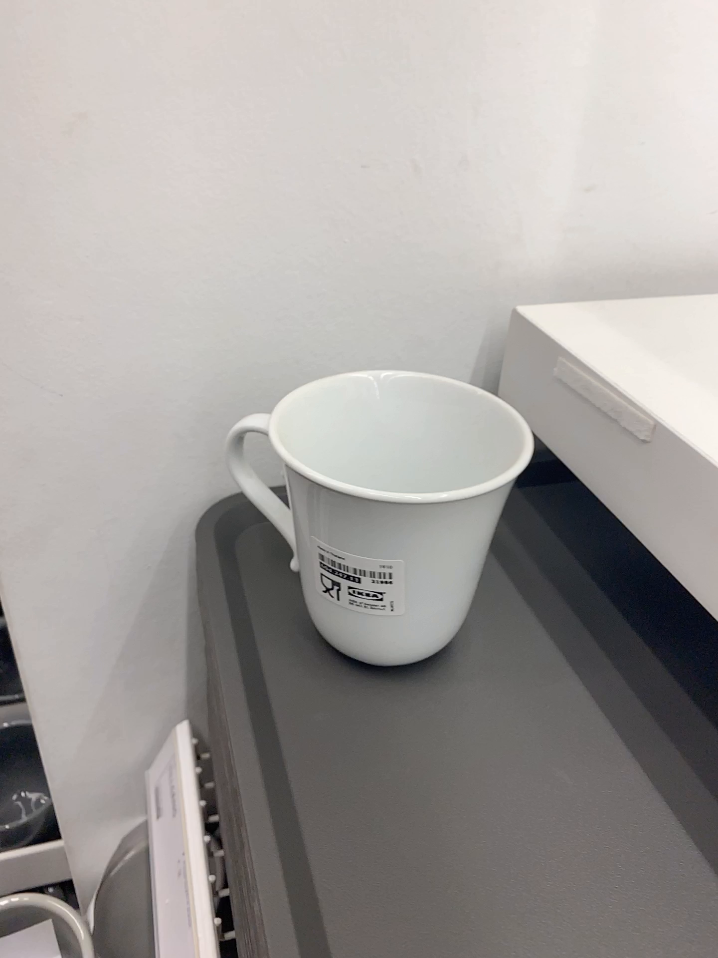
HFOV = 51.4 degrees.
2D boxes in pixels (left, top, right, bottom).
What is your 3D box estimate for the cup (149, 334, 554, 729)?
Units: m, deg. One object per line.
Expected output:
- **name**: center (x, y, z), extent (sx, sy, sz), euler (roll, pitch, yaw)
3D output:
- **cup**: center (0.001, 0.014, 0.313), extent (0.130, 0.100, 0.100), euler (13, 33, 14)
